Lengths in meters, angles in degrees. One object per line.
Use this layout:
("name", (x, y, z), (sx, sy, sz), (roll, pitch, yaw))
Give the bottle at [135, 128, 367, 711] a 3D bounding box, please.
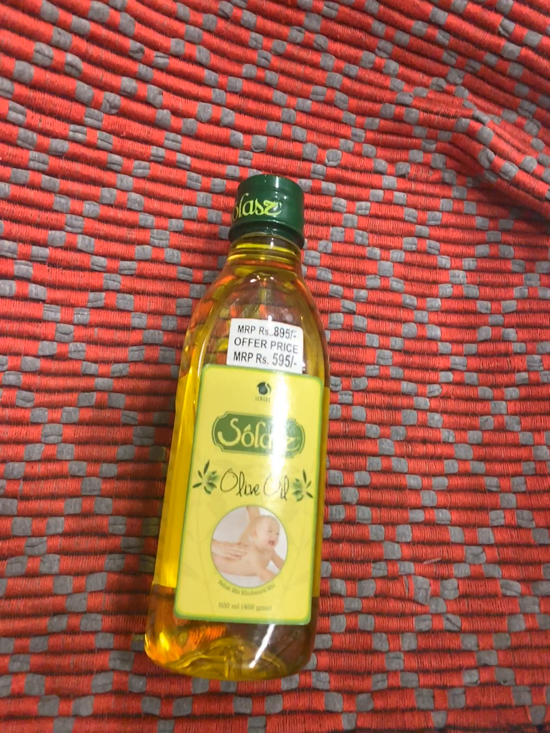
("bottle", (-0.006, 0.014, 0.246), (0.070, 0.060, 0.220), (7, 73, -7))
